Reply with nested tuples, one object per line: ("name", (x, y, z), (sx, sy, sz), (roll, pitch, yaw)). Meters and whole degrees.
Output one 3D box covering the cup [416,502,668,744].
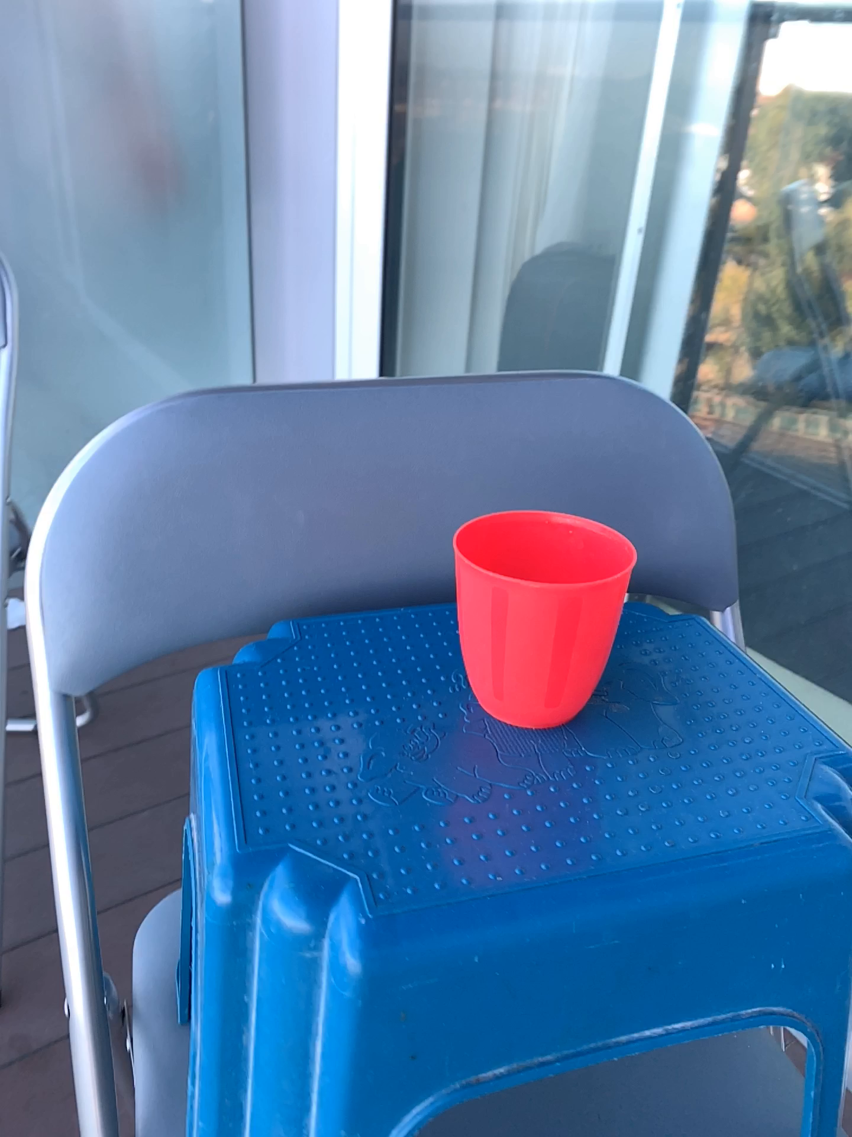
("cup", (0.049, 0.022, 0.409), (0.086, 0.077, 0.074), (-4, 31, -15))
